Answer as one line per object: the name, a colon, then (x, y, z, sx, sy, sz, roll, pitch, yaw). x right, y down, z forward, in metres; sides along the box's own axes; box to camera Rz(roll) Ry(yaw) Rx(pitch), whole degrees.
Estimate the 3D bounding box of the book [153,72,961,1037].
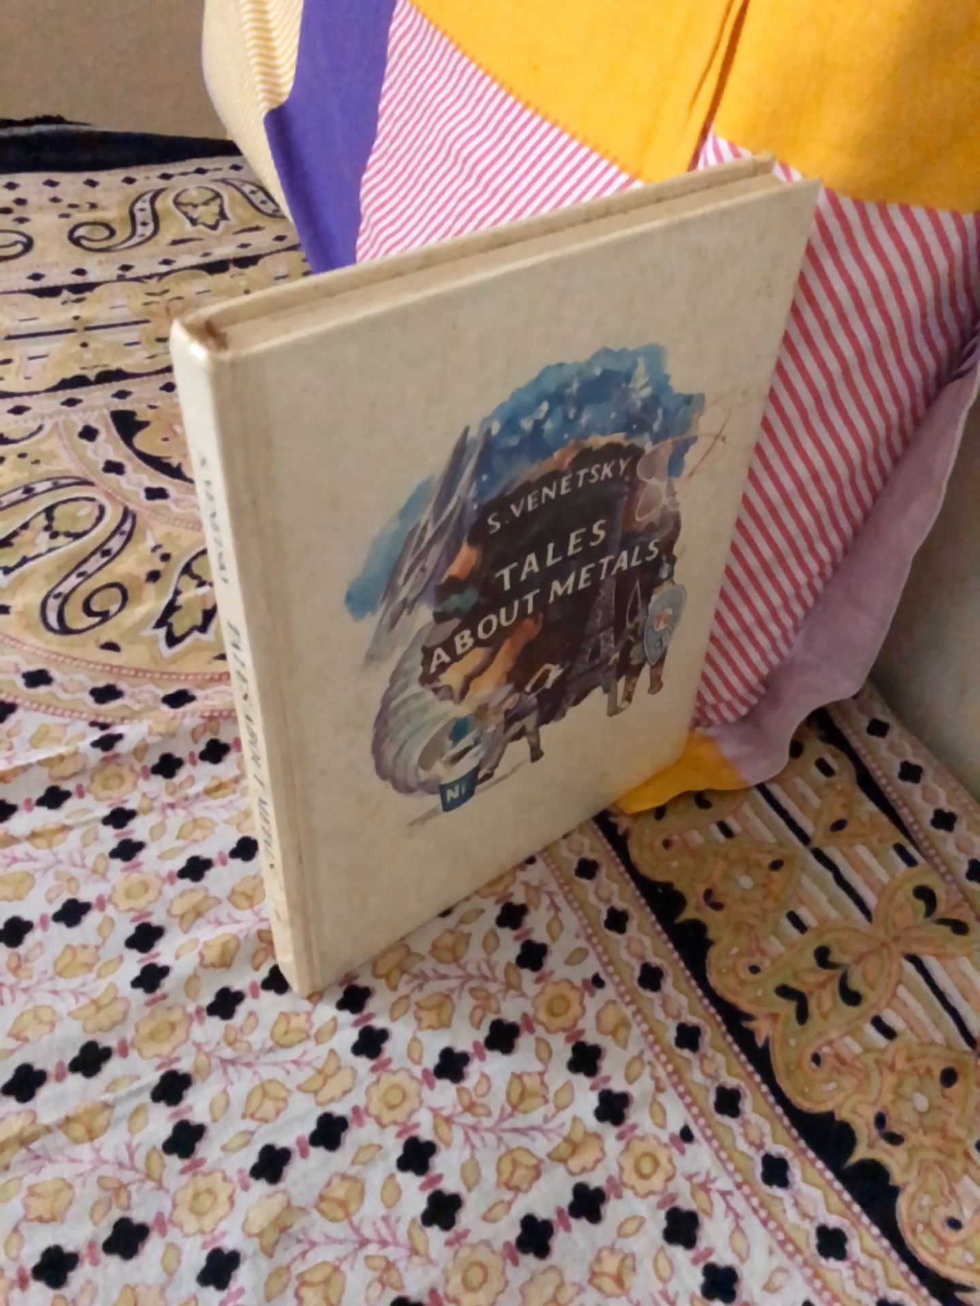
book: (0.014, -0.021, 0.319, 0.190, 0.249, 0.050, -23, 50, -31)
